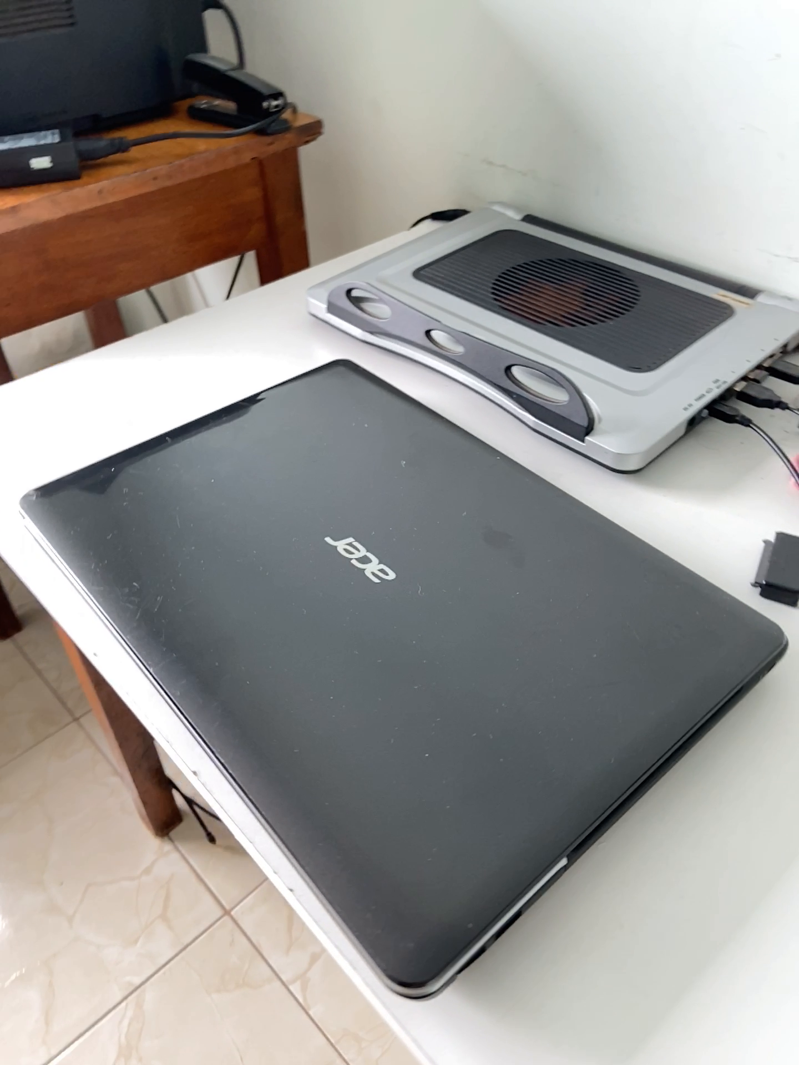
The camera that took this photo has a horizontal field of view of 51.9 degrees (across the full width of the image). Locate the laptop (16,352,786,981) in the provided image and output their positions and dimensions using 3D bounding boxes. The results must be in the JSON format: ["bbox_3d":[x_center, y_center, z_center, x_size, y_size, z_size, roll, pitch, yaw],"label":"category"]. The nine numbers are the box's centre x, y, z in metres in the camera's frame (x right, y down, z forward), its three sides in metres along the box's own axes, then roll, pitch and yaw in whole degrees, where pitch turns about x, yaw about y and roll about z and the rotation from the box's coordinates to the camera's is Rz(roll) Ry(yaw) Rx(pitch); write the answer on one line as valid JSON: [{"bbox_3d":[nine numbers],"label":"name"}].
[{"bbox_3d":[-0.018,0.011,0.419,0.230,0.005,0.336,-30,49,-29],"label":"laptop"}]
